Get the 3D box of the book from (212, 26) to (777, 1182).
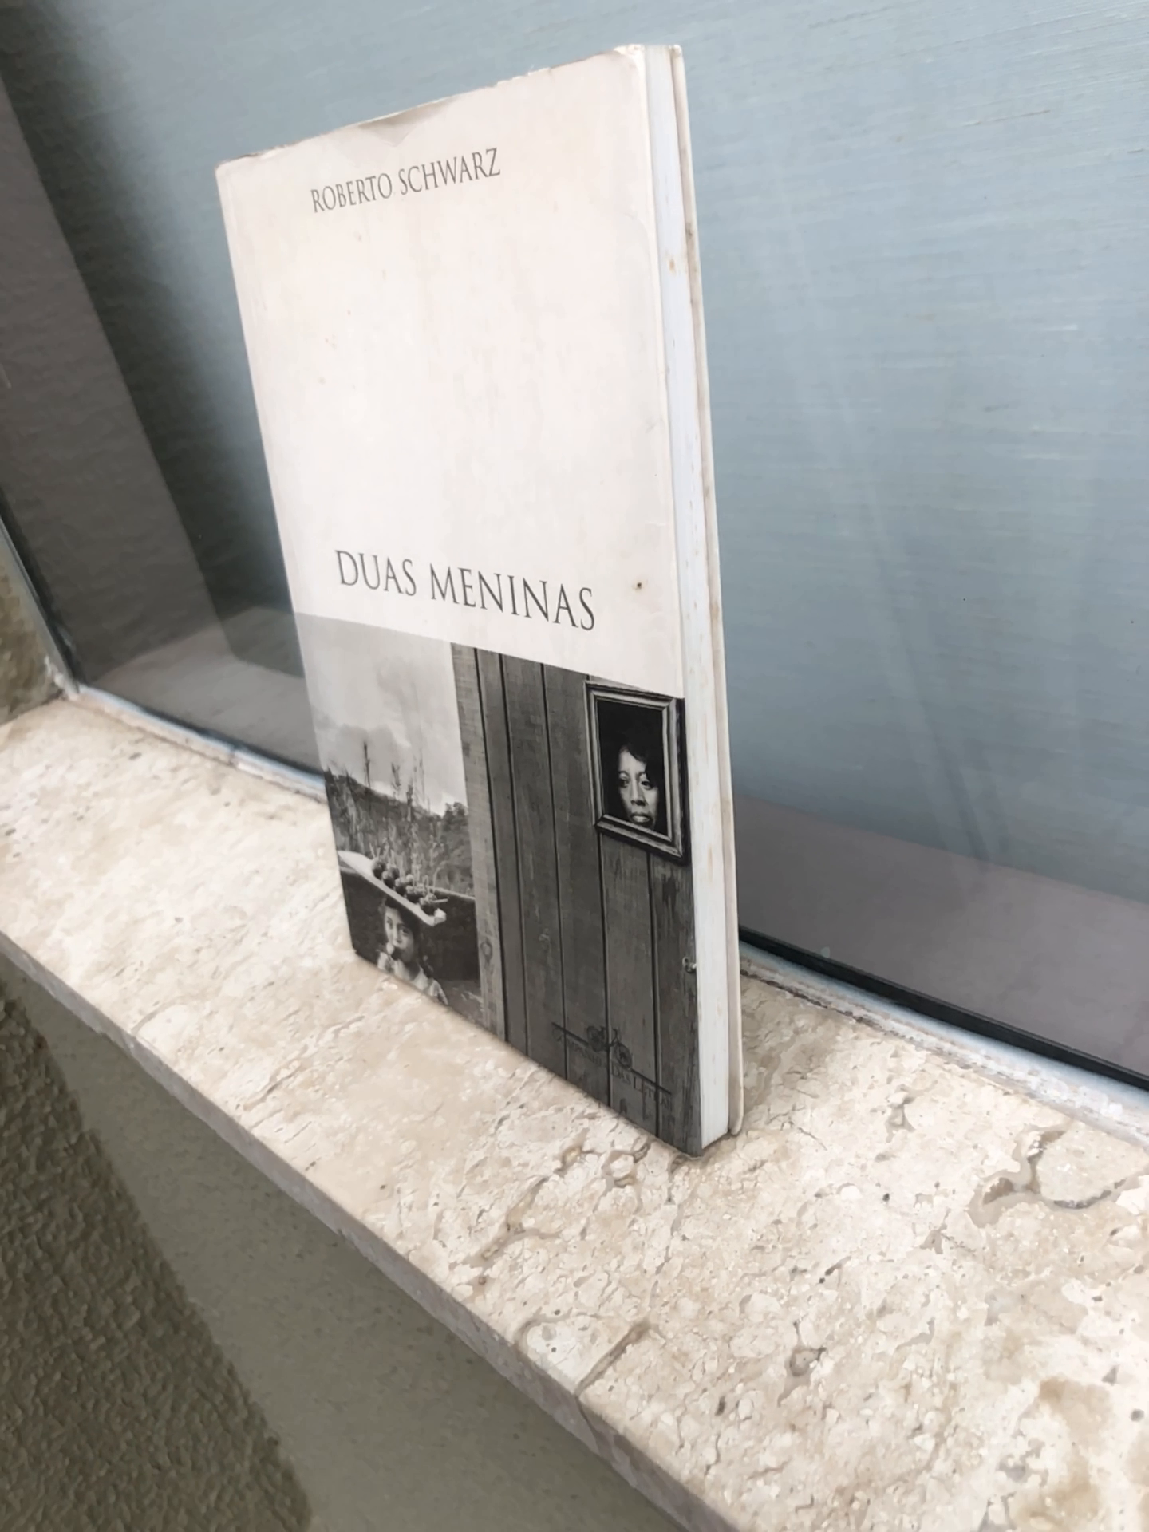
[{"bbox_3d":[-0.020,-0.029,0.277,0.016,0.204,0.139,-21,25,-35],"label":"book"}]
